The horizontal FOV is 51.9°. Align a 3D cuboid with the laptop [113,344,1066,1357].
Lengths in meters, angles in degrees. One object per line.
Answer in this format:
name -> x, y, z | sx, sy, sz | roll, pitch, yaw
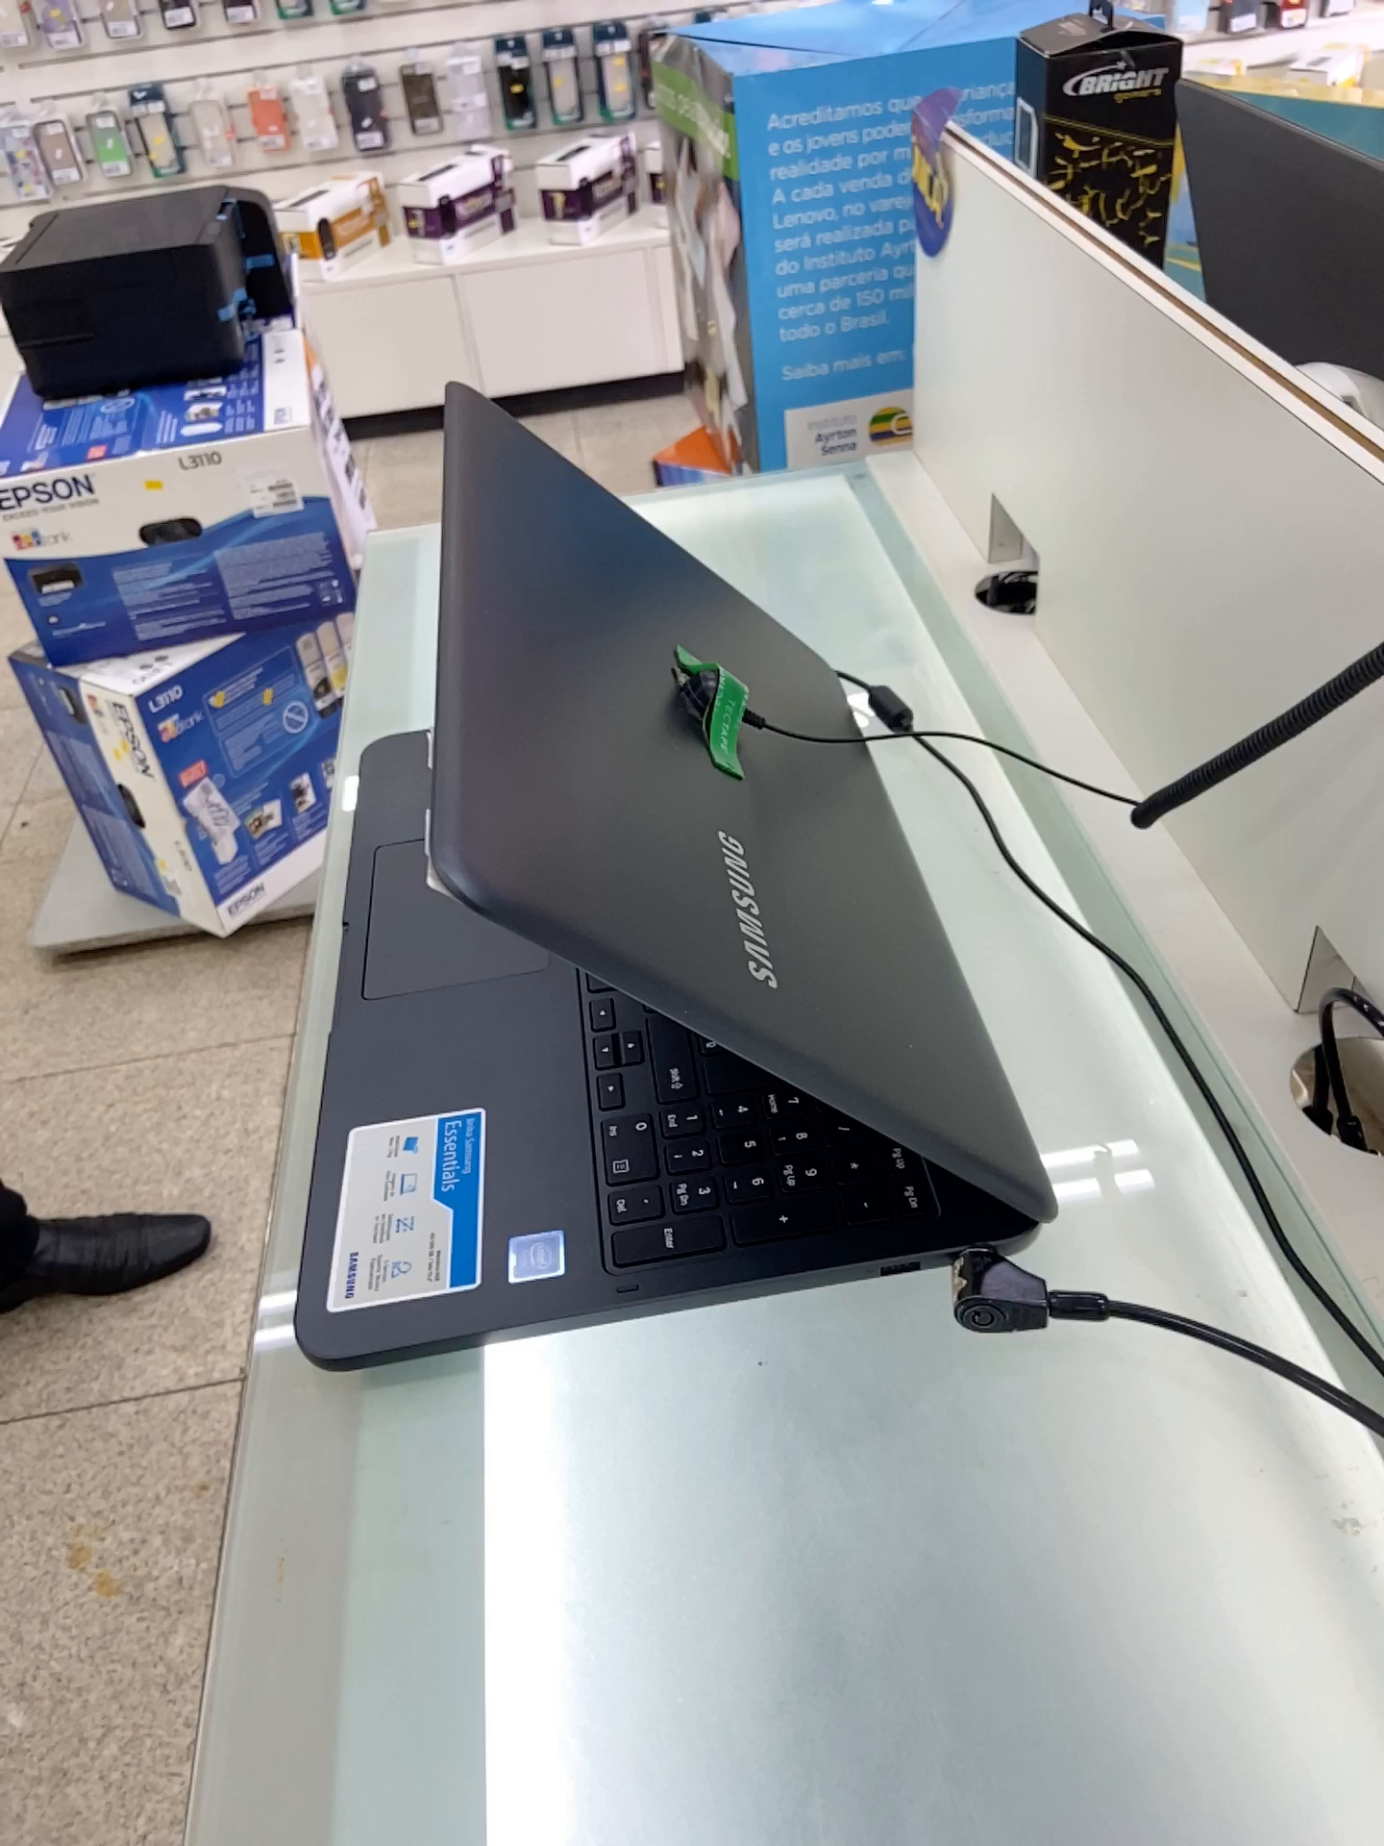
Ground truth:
laptop -> -0.039, -0.062, 0.559 | 0.245, 0.173, 0.374 | -9, 39, -2
